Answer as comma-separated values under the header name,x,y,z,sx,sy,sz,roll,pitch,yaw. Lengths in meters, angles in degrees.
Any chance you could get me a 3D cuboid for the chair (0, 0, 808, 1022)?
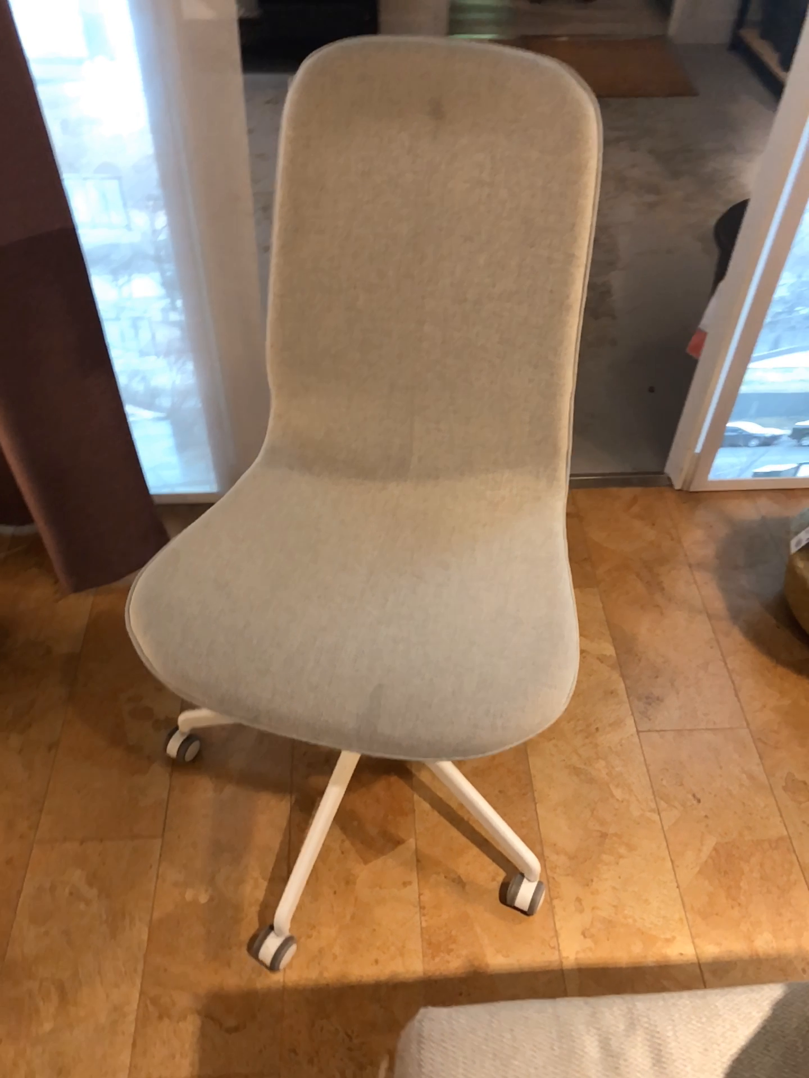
name,x,y,z,sx,sy,sz,roll,pitch,yaw
chair,-0.063,0.006,1.063,0.670,0.937,0.692,7,47,5
